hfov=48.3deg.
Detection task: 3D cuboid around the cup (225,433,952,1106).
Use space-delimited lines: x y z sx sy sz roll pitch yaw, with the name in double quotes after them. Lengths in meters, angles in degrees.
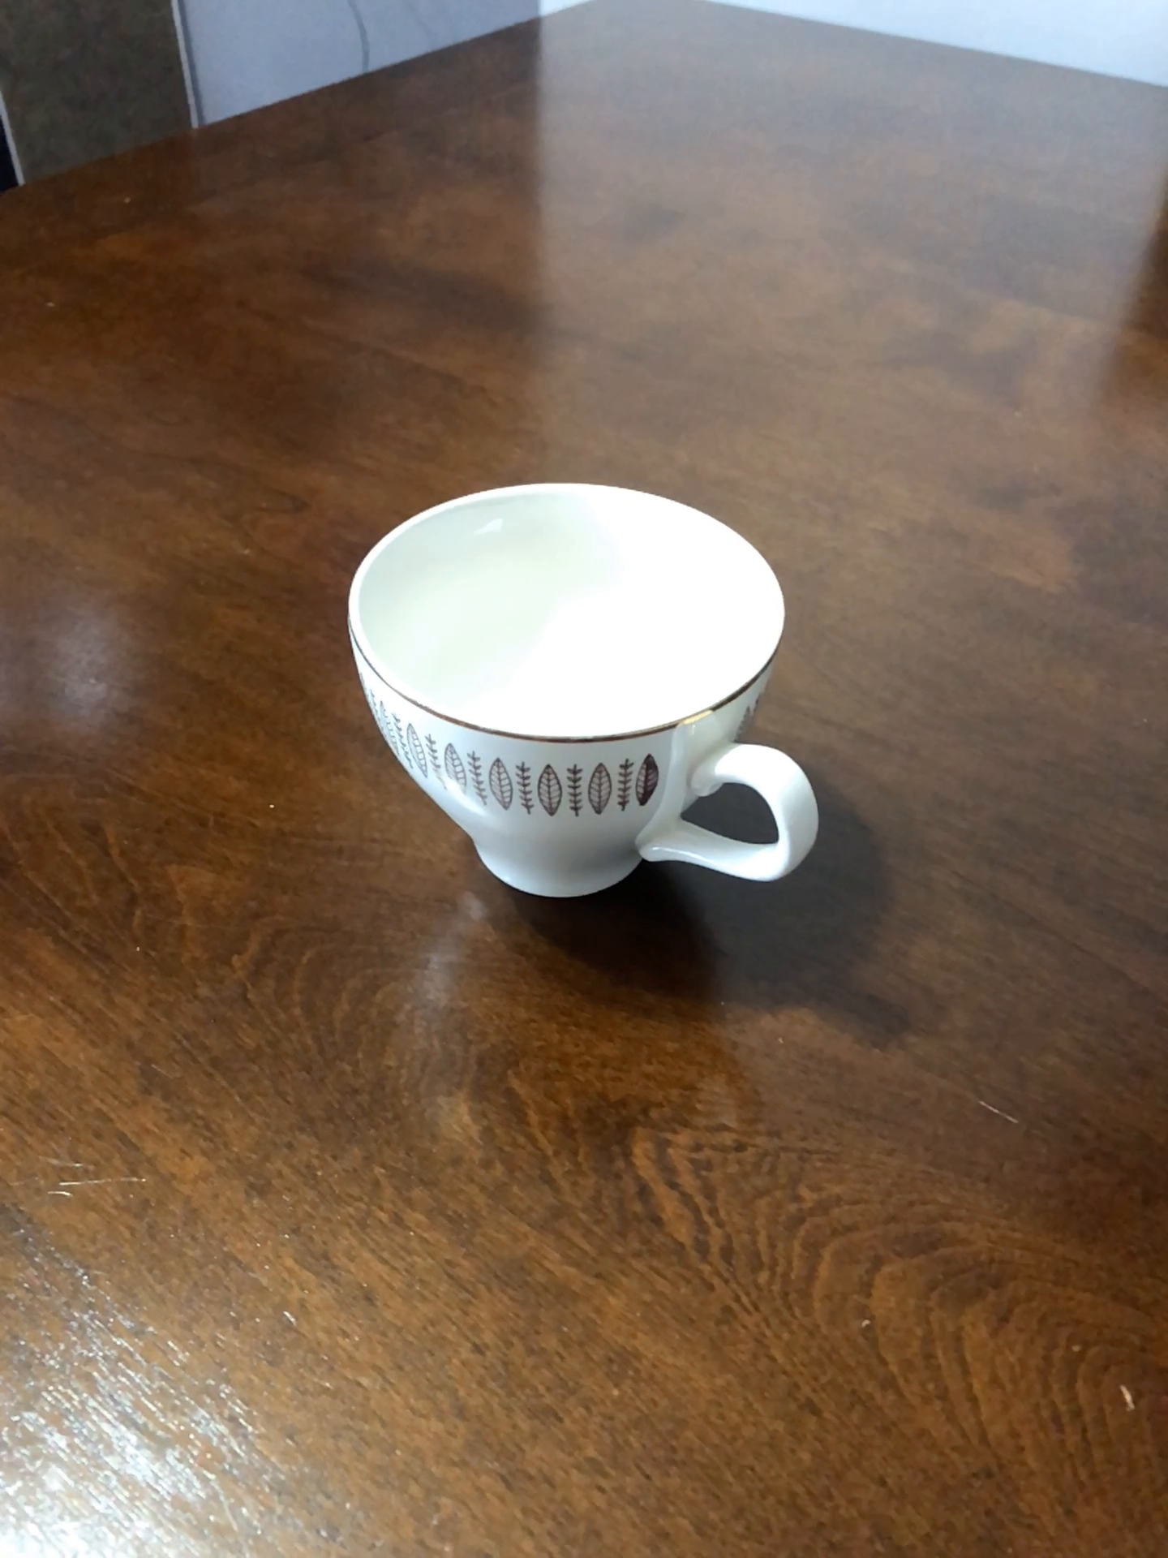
0.001 -0.009 0.261 0.100 0.060 0.090 30 49 26 "cup"
